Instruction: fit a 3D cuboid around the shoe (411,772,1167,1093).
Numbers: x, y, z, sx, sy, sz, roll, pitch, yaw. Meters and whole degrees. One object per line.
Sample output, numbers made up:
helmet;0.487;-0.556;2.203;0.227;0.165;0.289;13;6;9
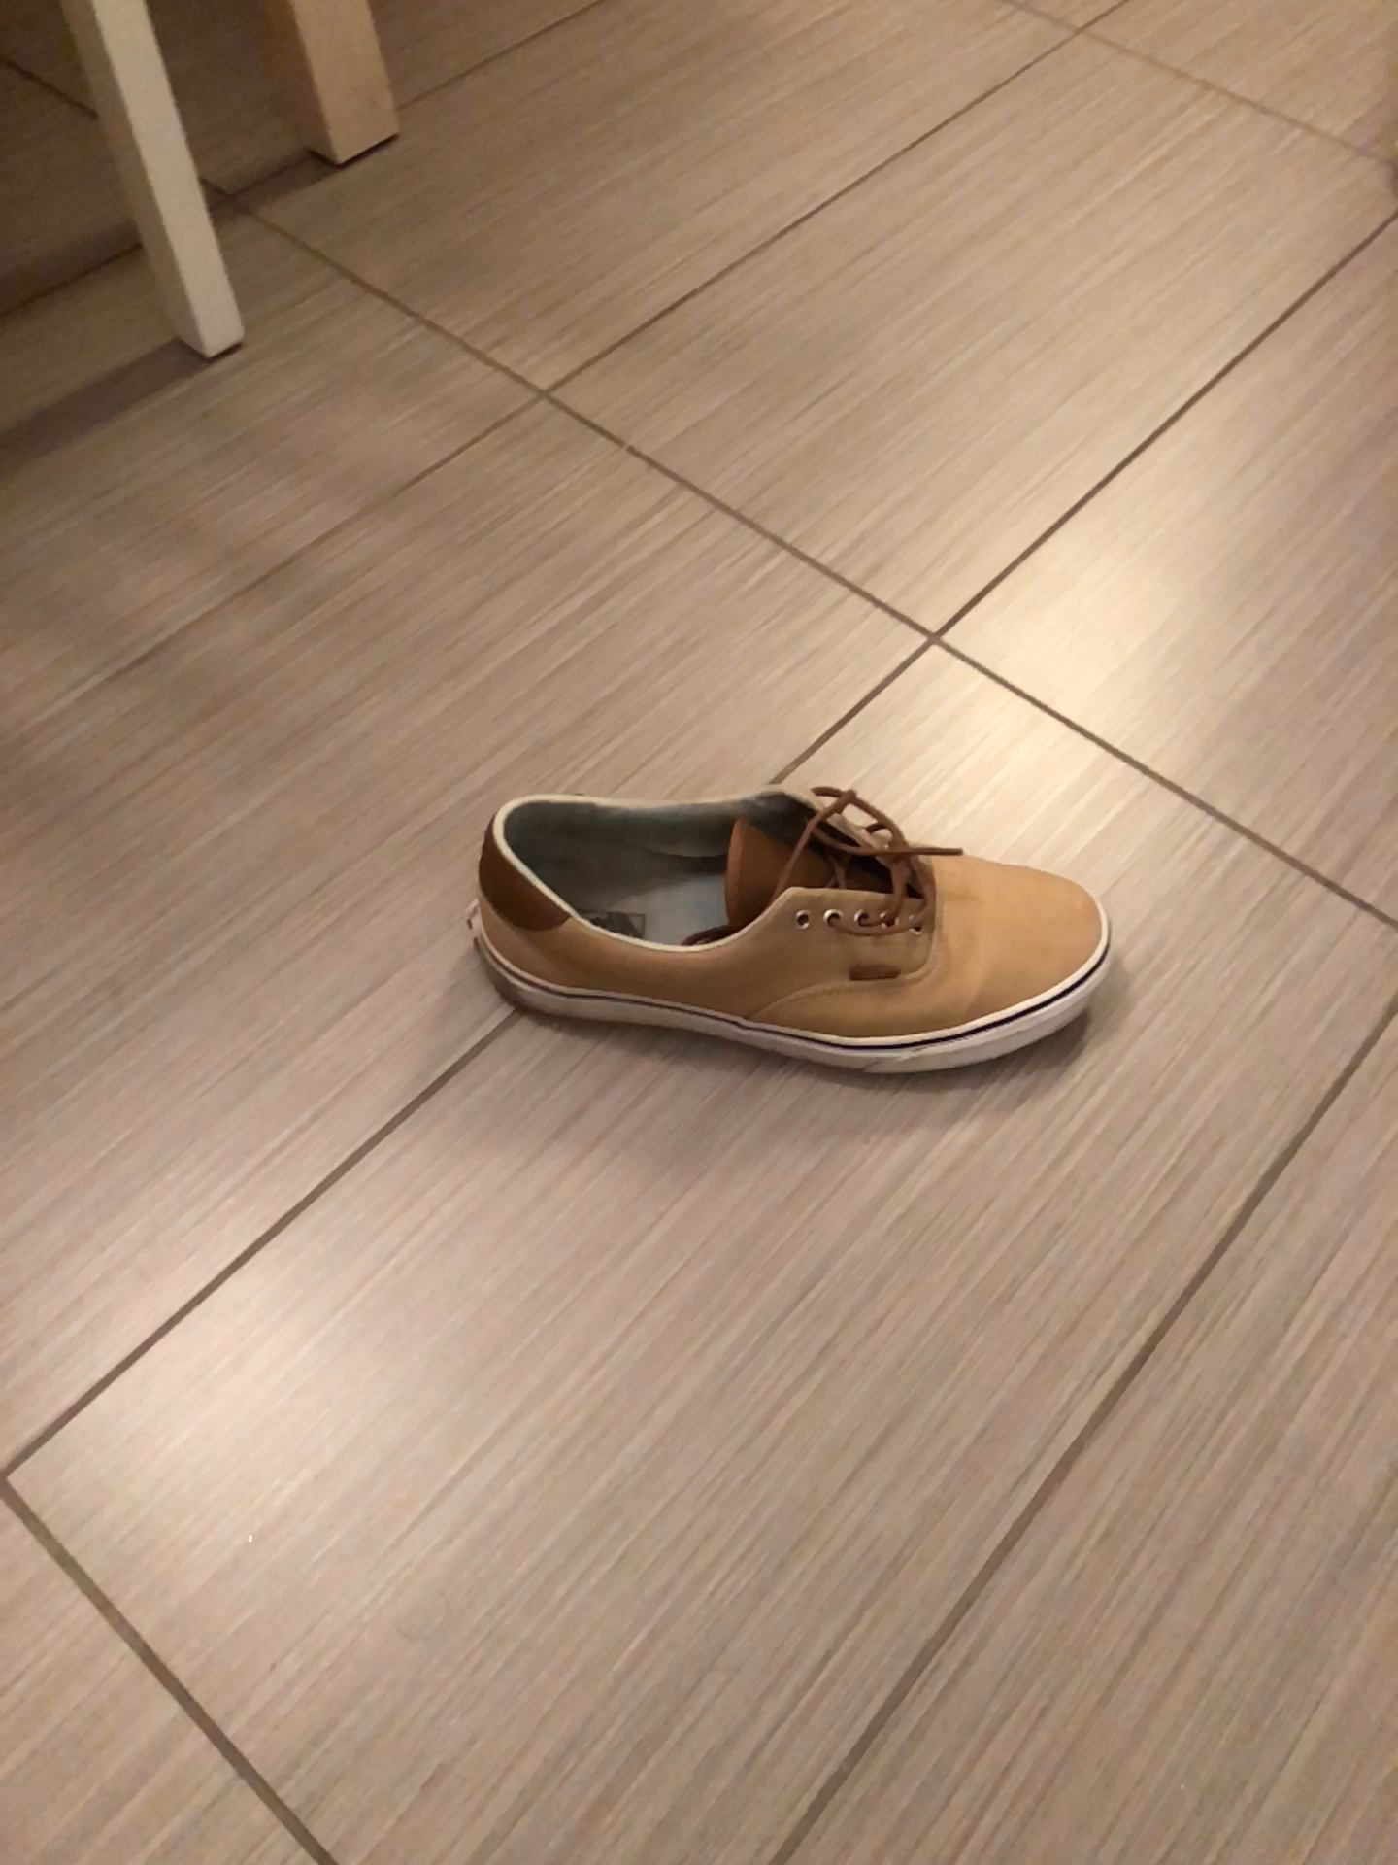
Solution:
shoe;0.039;0.000;0.688;0.310;0.070;0.111;3;57;1
